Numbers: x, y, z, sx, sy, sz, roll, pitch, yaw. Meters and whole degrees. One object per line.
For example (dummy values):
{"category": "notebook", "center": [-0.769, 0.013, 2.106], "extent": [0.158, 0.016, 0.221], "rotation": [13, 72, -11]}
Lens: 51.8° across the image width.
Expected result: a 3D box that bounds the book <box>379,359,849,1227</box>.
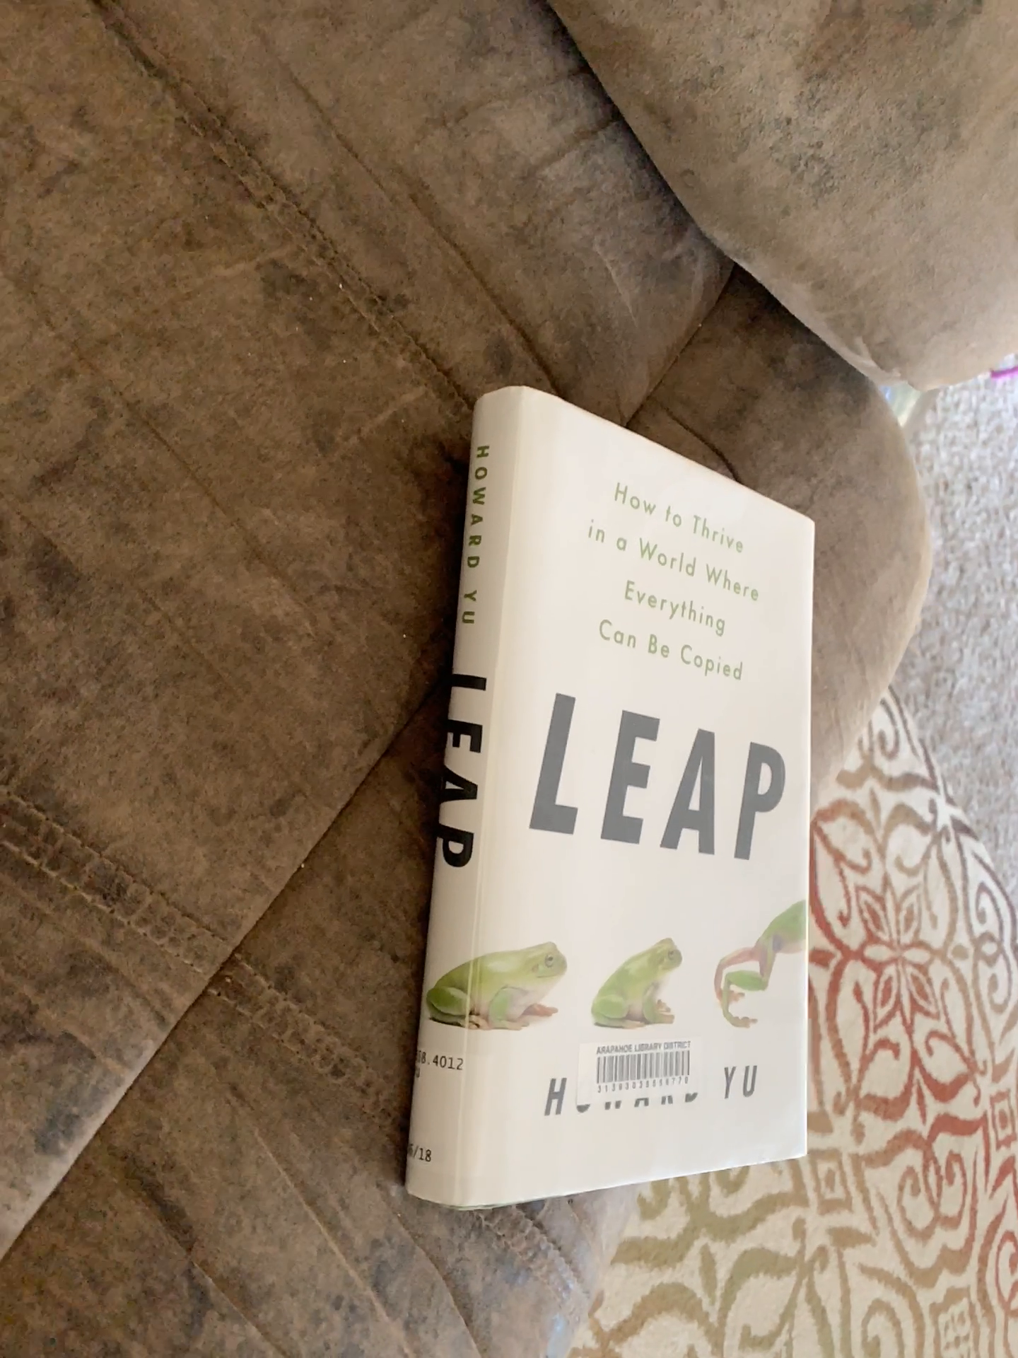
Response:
{"category": "book", "center": [0.044, 0.036, 0.347], "extent": [0.161, 0.040, 0.235], "rotation": [12, 74, -37]}
